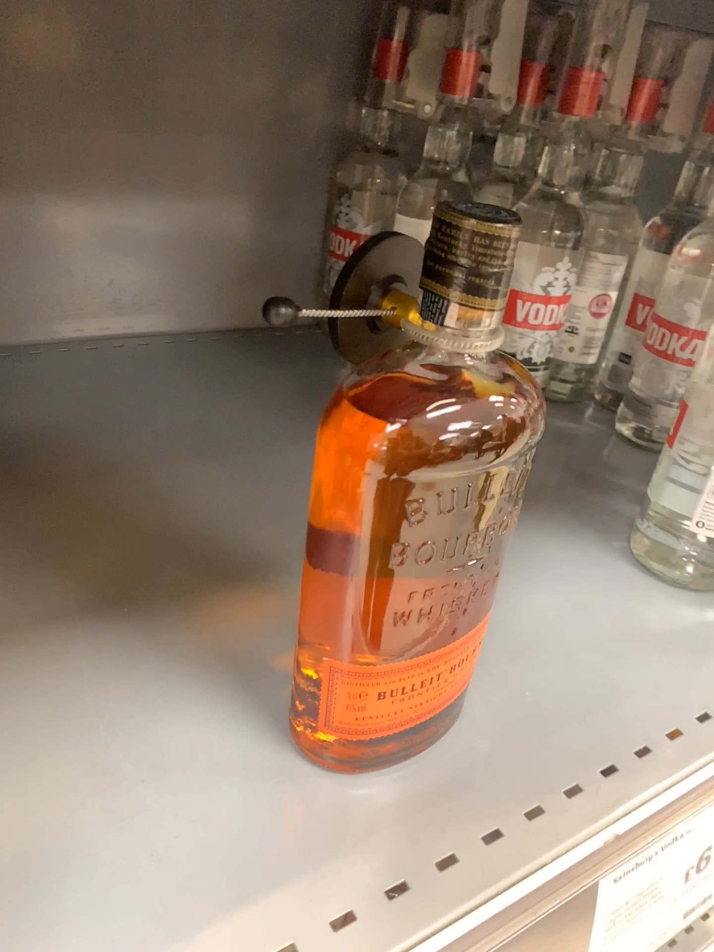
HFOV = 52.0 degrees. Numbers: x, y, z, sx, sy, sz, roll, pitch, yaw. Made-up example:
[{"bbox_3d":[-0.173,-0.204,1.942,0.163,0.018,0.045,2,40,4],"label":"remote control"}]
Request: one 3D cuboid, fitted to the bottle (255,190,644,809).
[{"bbox_3d":[0.024,0.013,0.292,0.100,0.228,0.060,-15,37,-35],"label":"bottle"}]
